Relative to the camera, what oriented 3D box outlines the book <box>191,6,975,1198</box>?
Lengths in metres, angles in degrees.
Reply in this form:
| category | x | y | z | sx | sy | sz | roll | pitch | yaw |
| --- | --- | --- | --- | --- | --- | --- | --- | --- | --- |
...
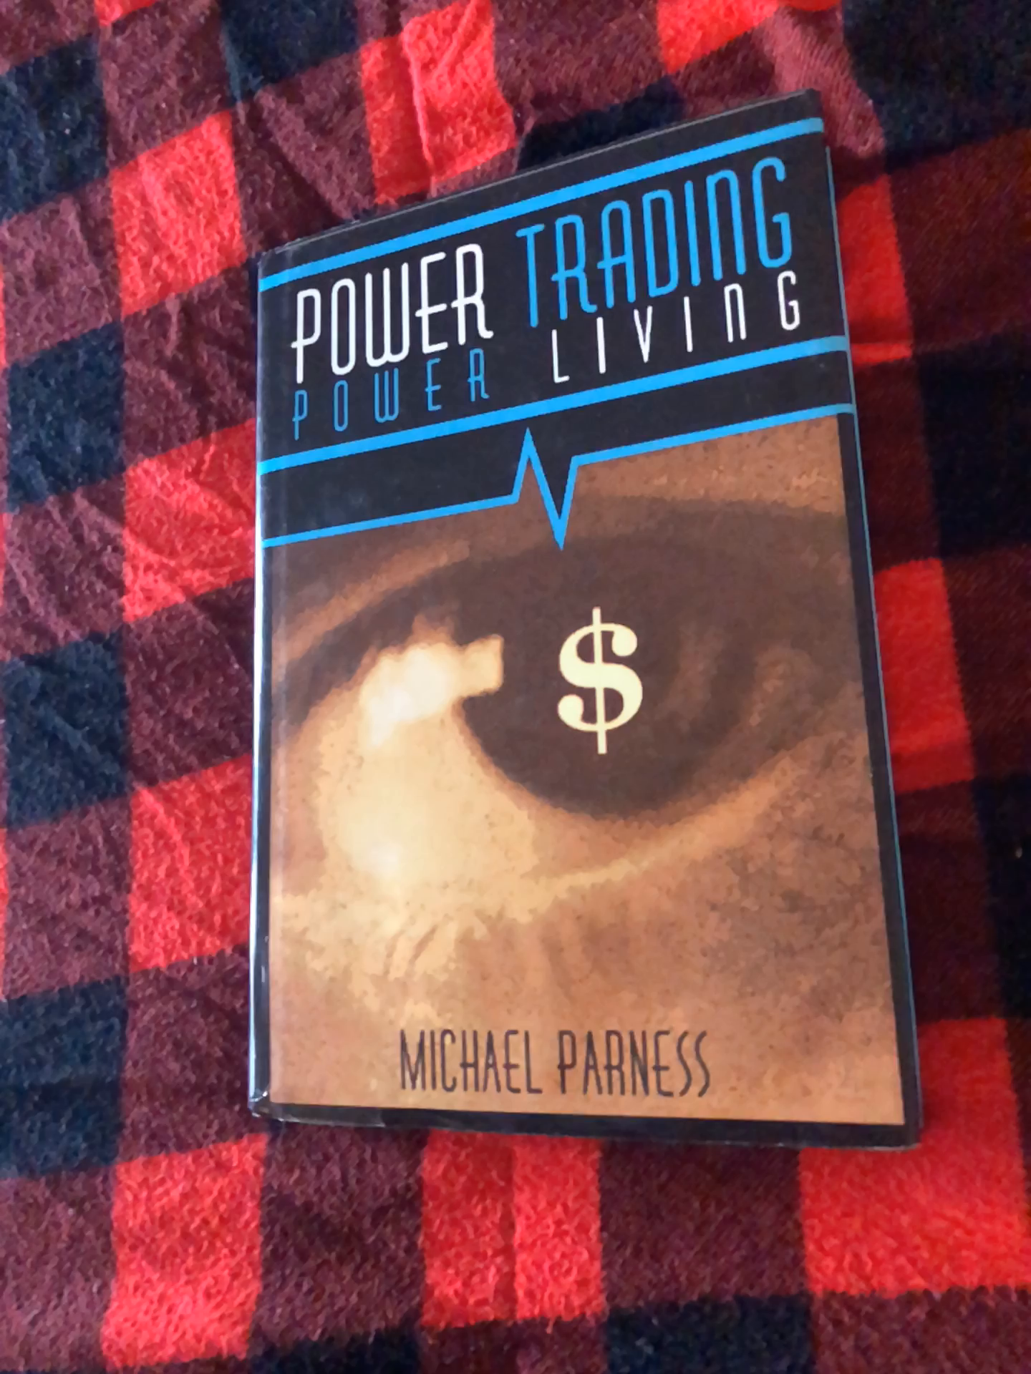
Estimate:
| category | x | y | z | sx | sy | sz | roll | pitch | yaw |
| --- | --- | --- | --- | --- | --- | --- | --- | --- | --- |
| book | 0.005 | -0.016 | 0.272 | 0.170 | 0.040 | 0.240 | -6 | 80 | 22 |
